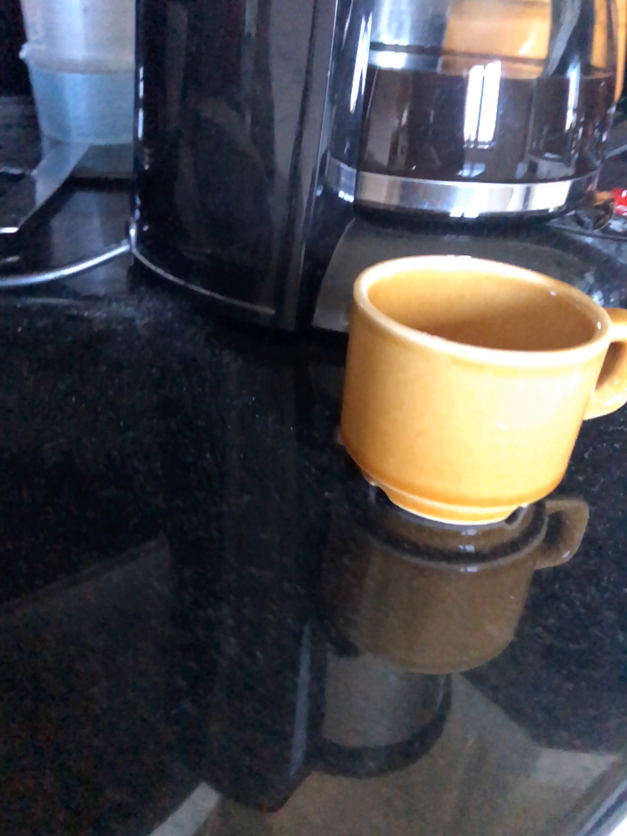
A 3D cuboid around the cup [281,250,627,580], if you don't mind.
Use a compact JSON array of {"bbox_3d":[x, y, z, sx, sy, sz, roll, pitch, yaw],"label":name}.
[{"bbox_3d":[0.050,-0.008,0.190,0.100,0.050,0.070,-7,33,-18],"label":"cup"}]
